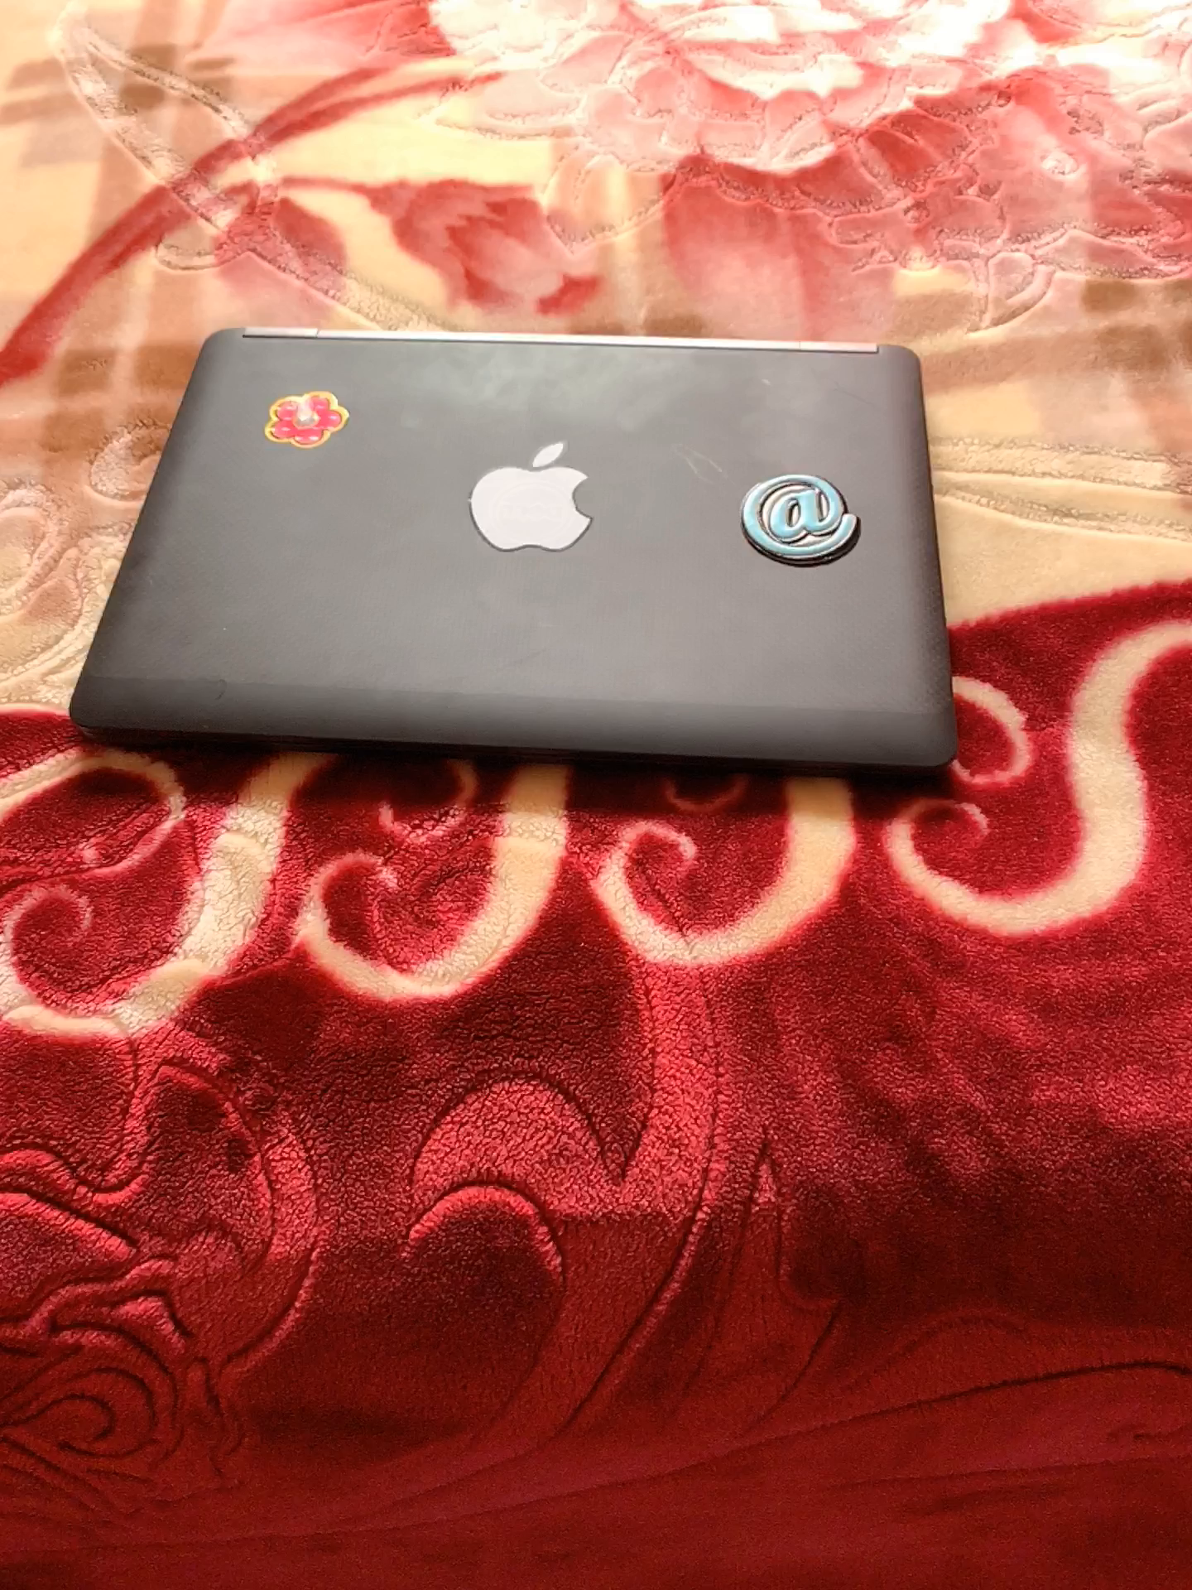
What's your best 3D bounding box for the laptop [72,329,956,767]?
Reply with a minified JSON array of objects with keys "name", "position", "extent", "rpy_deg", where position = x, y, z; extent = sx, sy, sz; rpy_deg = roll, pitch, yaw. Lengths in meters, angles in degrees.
[{"name":"laptop","position":[-0.025,-0.106,0.467],"extent":[0.299,0.001,0.209],"rpy_deg":[3,57,4]}]
